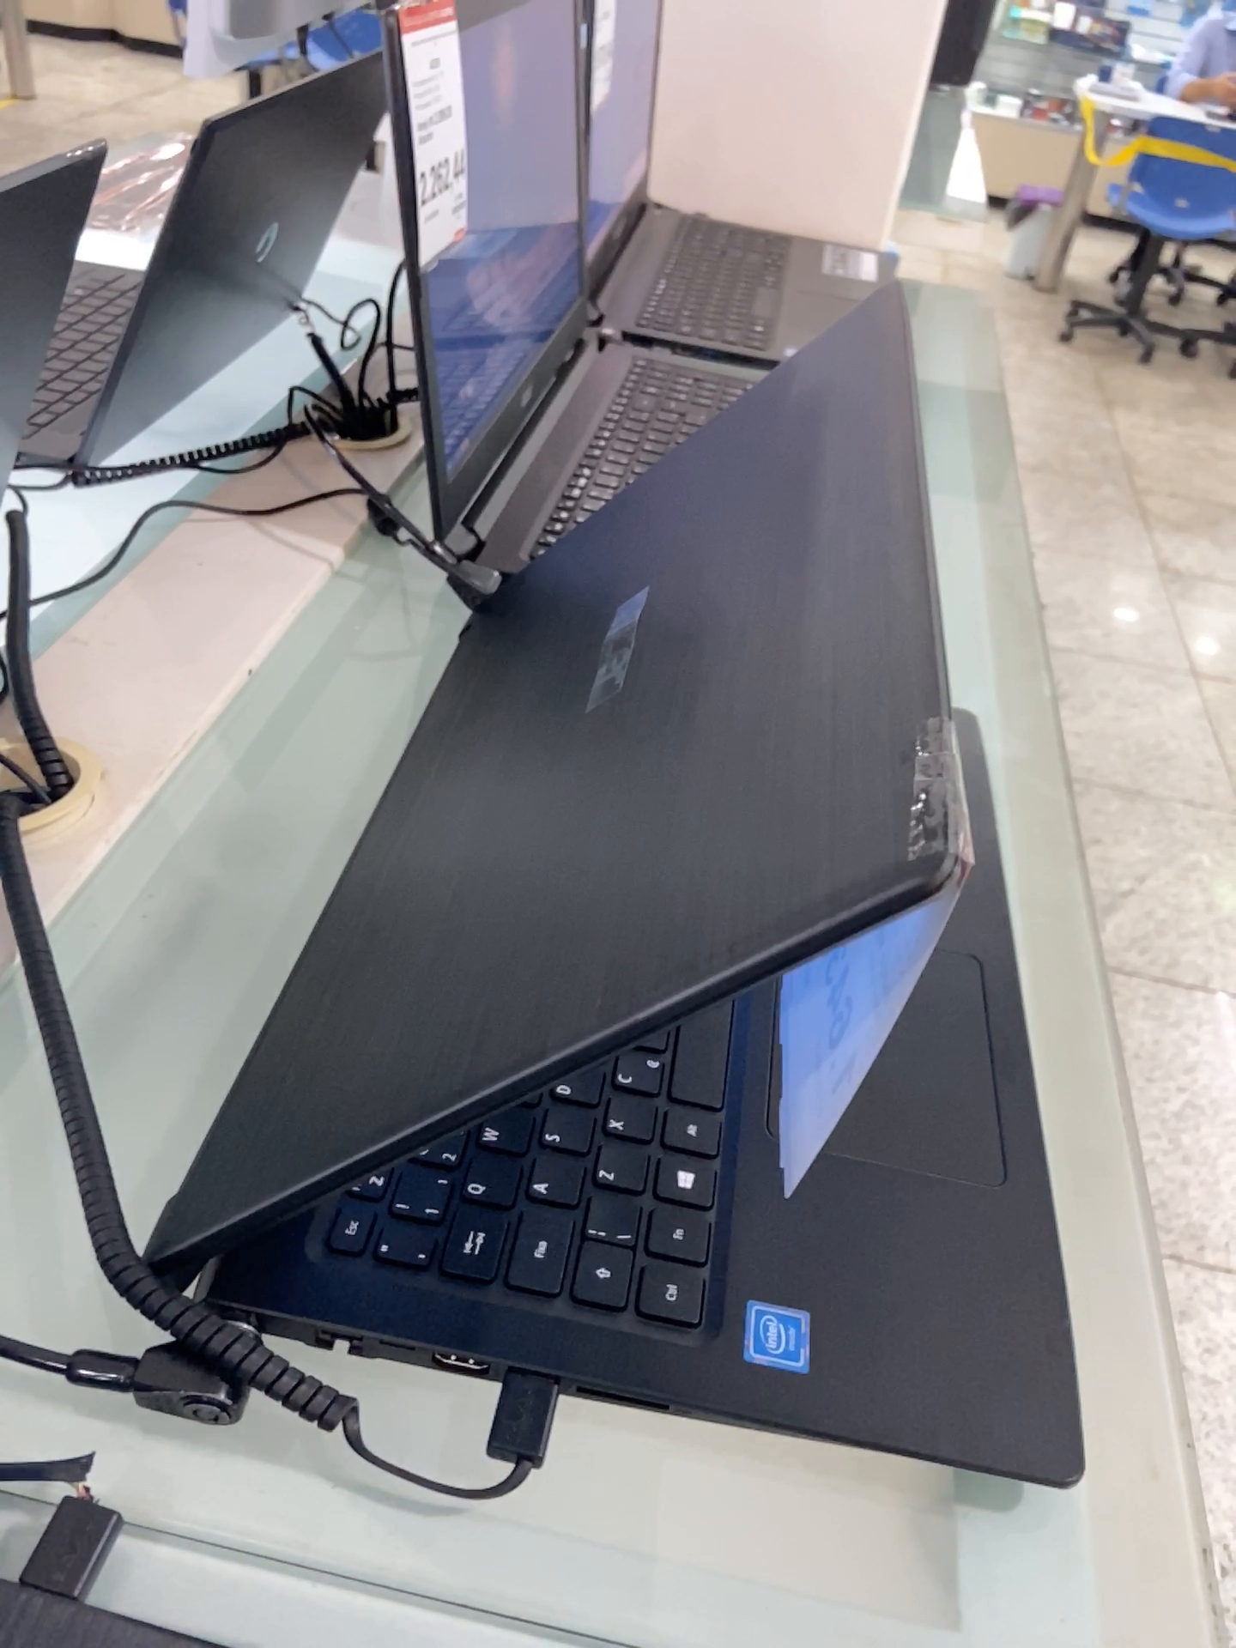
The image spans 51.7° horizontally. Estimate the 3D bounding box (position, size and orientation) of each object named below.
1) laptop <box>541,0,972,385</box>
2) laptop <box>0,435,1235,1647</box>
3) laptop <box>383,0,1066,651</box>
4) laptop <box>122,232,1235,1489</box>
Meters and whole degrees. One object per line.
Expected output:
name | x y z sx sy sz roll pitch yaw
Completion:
laptop | 0.118 -0.580 1.054 0.283 0.241 0.325 15 41 7
laptop | -0.114 0.202 0.045 0.325 0.231 0.402 14 37 4
laptop | 0.067 -0.330 0.759 0.283 0.247 0.401 12 37 3
laptop | 0.046 -0.036 0.431 0.238 0.185 0.381 11 38 2
